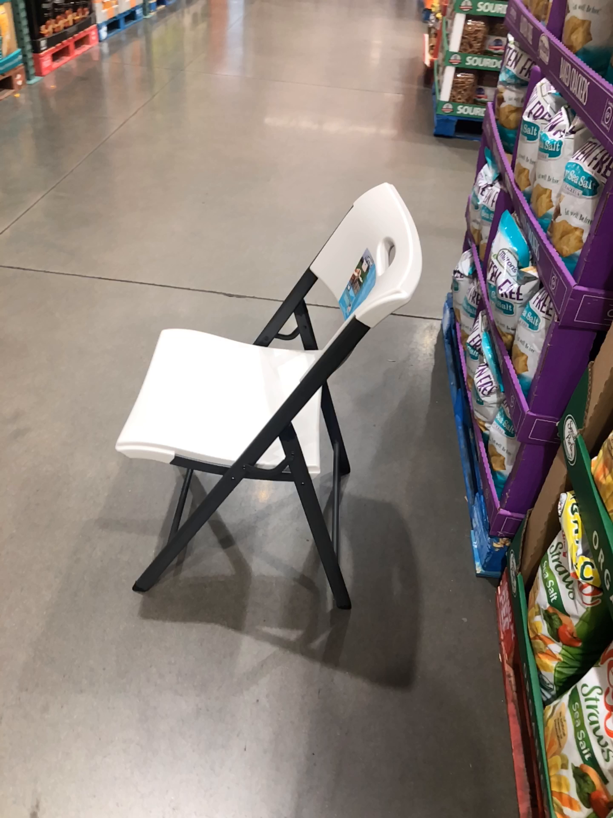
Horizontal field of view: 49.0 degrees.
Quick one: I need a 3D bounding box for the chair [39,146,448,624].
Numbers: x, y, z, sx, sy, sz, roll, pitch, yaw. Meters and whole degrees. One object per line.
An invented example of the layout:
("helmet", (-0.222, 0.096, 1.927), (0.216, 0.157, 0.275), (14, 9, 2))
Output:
("chair", (-0.102, -0.039, 1.431), (0.594, 0.790, 0.548), (6, 39, 0))
